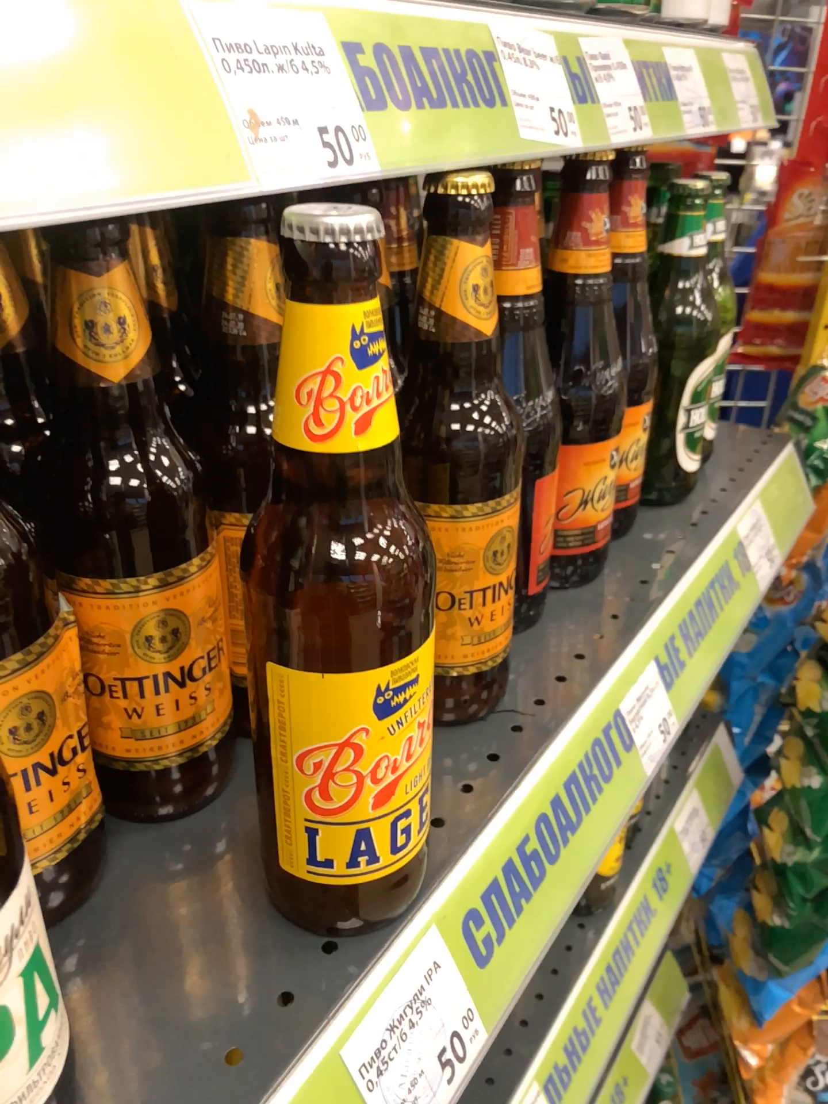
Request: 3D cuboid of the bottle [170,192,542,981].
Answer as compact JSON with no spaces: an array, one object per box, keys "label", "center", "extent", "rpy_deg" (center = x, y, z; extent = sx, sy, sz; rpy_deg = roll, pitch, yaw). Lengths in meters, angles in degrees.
[{"label":"bottle","center":[-0.020,0.016,0.299],"extent":[0.070,0.239,0.070],"rpy_deg":[2,27,-1]}]
